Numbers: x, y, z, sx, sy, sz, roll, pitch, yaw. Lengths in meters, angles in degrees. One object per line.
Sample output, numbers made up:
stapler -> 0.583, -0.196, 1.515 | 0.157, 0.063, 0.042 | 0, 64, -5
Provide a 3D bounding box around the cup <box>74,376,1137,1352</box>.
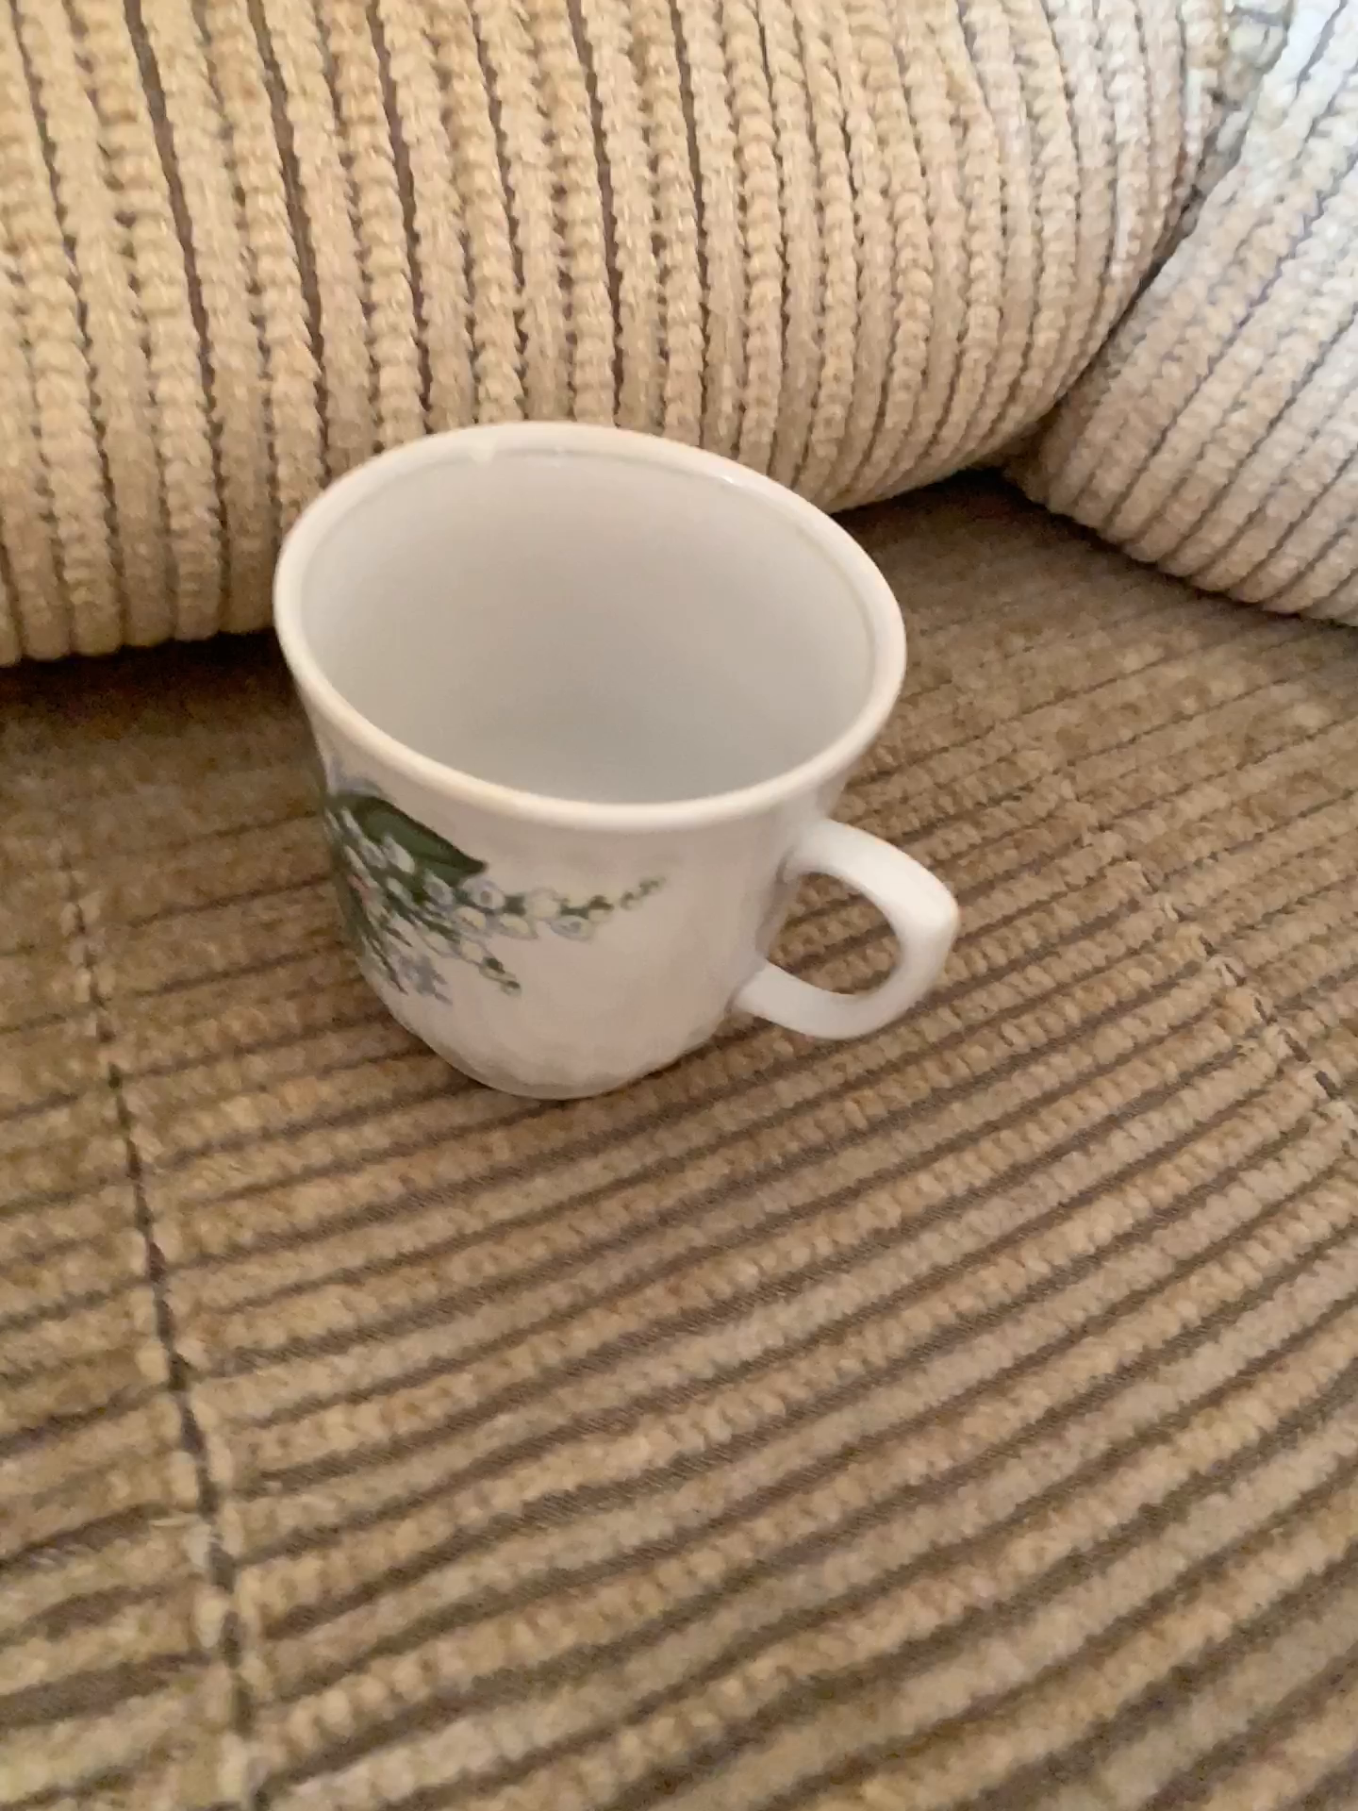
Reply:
cup -> -0.006, -0.014, 0.217 | 0.112, 0.077, 0.096 | 21, 45, 16
